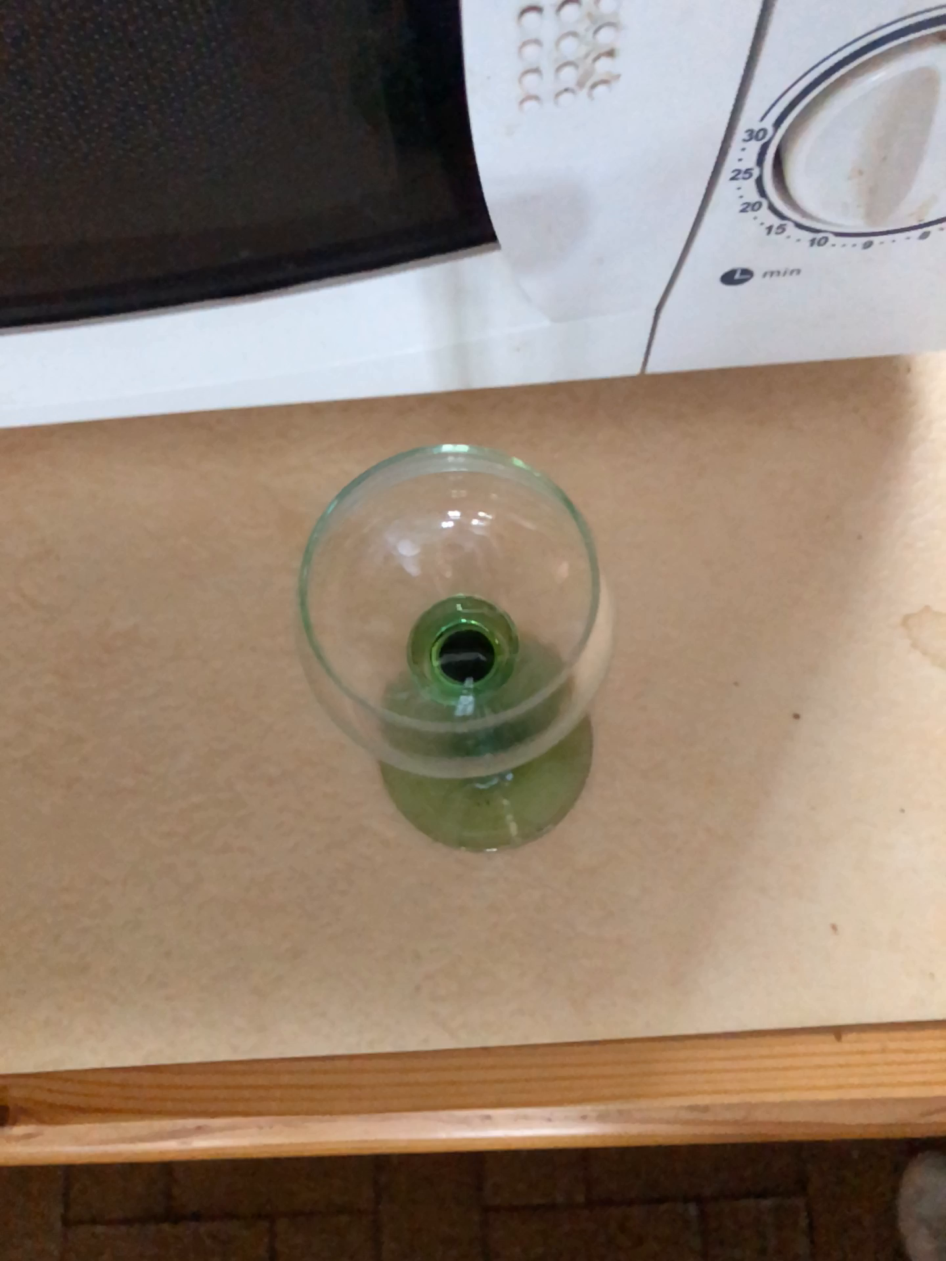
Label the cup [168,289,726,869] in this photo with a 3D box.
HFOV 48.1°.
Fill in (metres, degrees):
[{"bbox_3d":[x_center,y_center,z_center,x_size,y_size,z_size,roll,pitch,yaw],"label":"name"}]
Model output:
[{"bbox_3d":[-0.002,0.005,0.202,0.060,0.130,0.060,-1,75,2],"label":"cup"}]
